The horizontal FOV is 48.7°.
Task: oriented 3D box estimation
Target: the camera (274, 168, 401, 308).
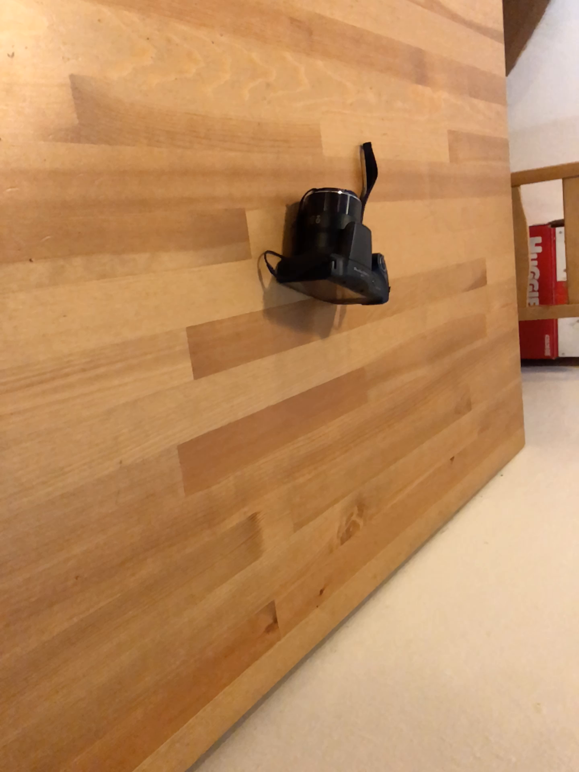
[{"bbox_3d":[0.048,-0.134,0.605,0.110,0.062,0.096,10,84,-51],"label":"camera"}]
